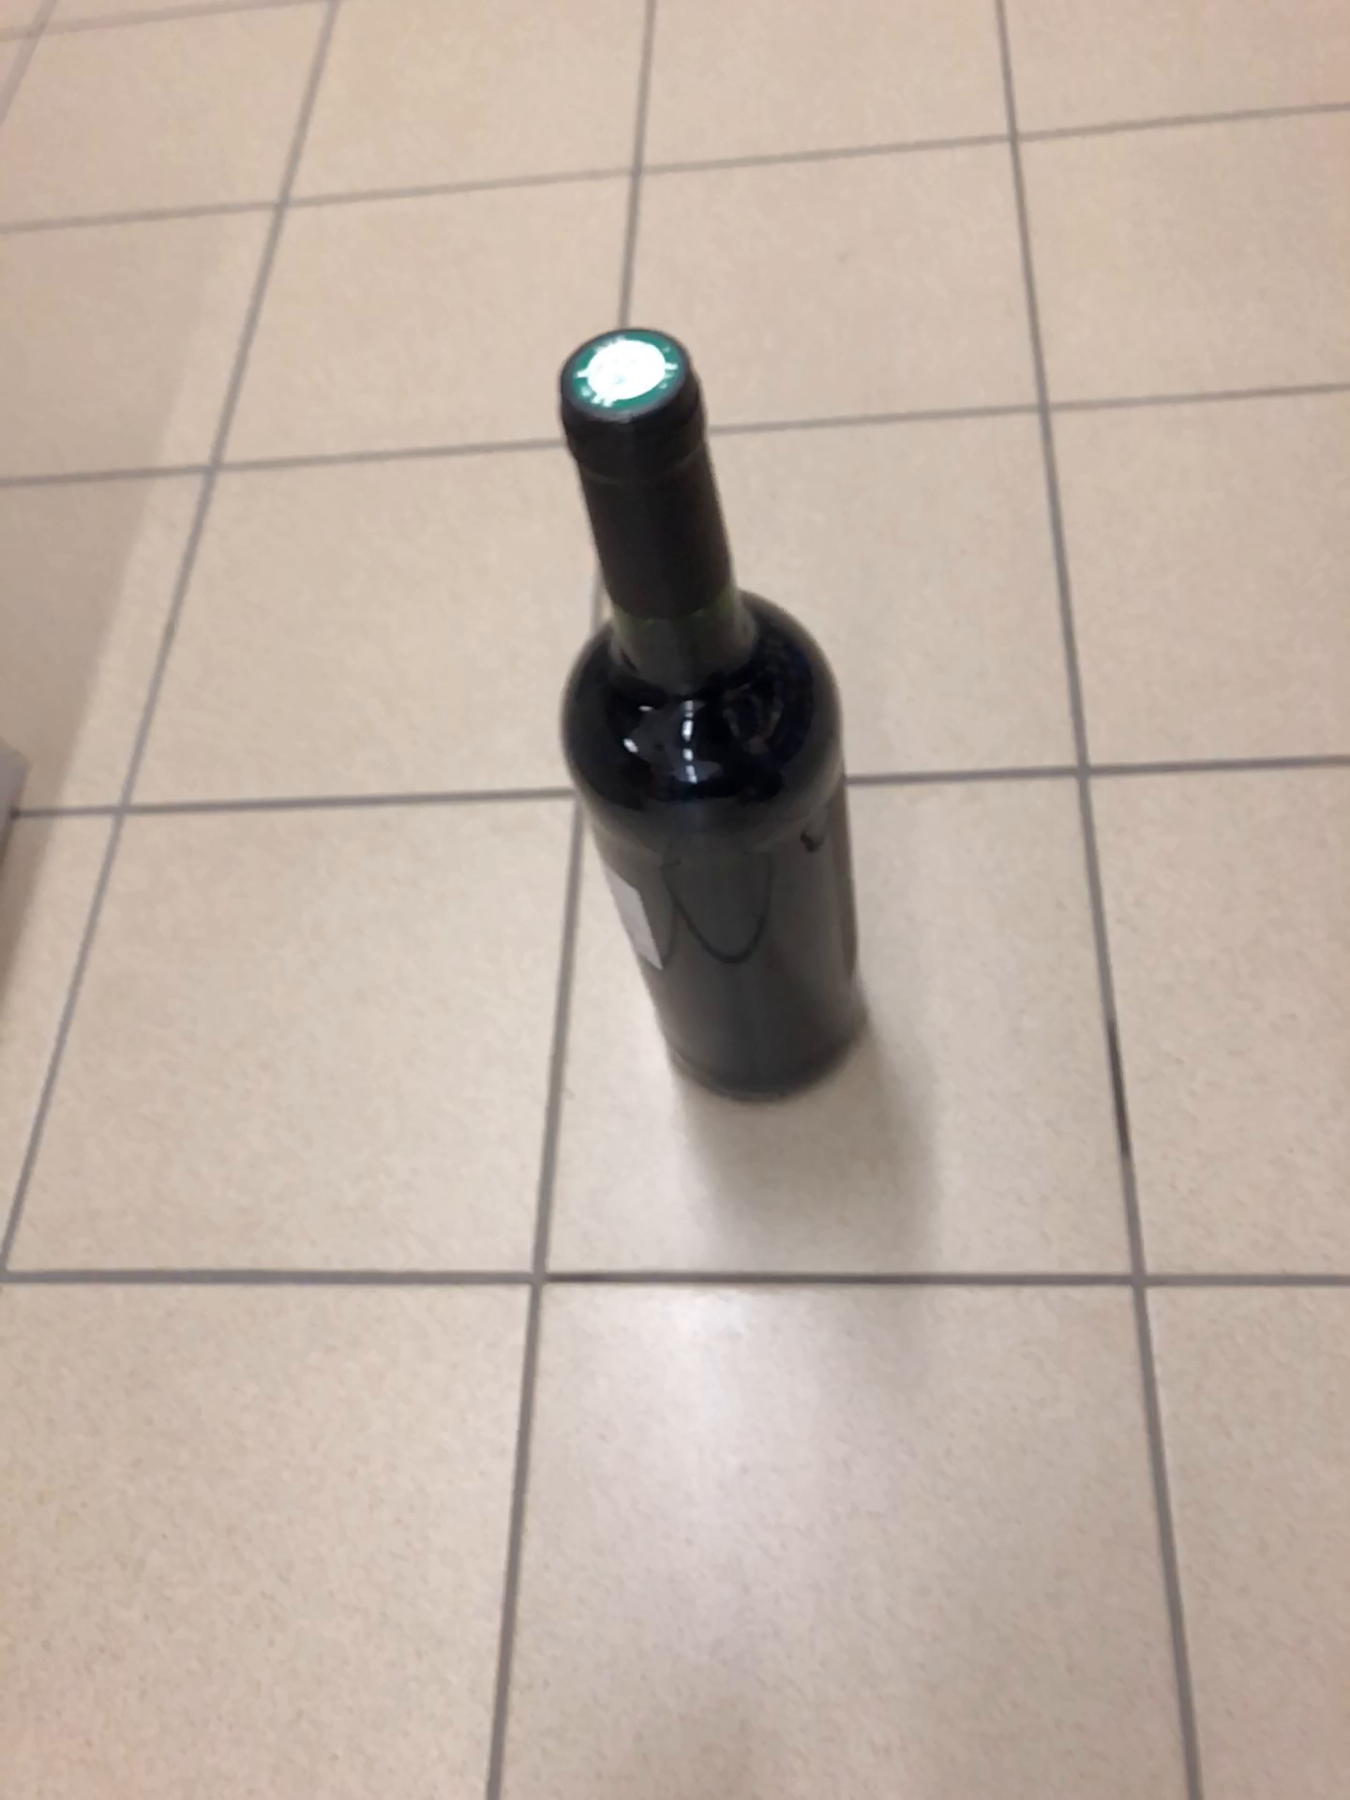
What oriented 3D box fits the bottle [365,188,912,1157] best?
[{"bbox_3d":[0.008,-0.032,0.424,0.090,0.289,0.090,-4,60,7],"label":"bottle"}]
